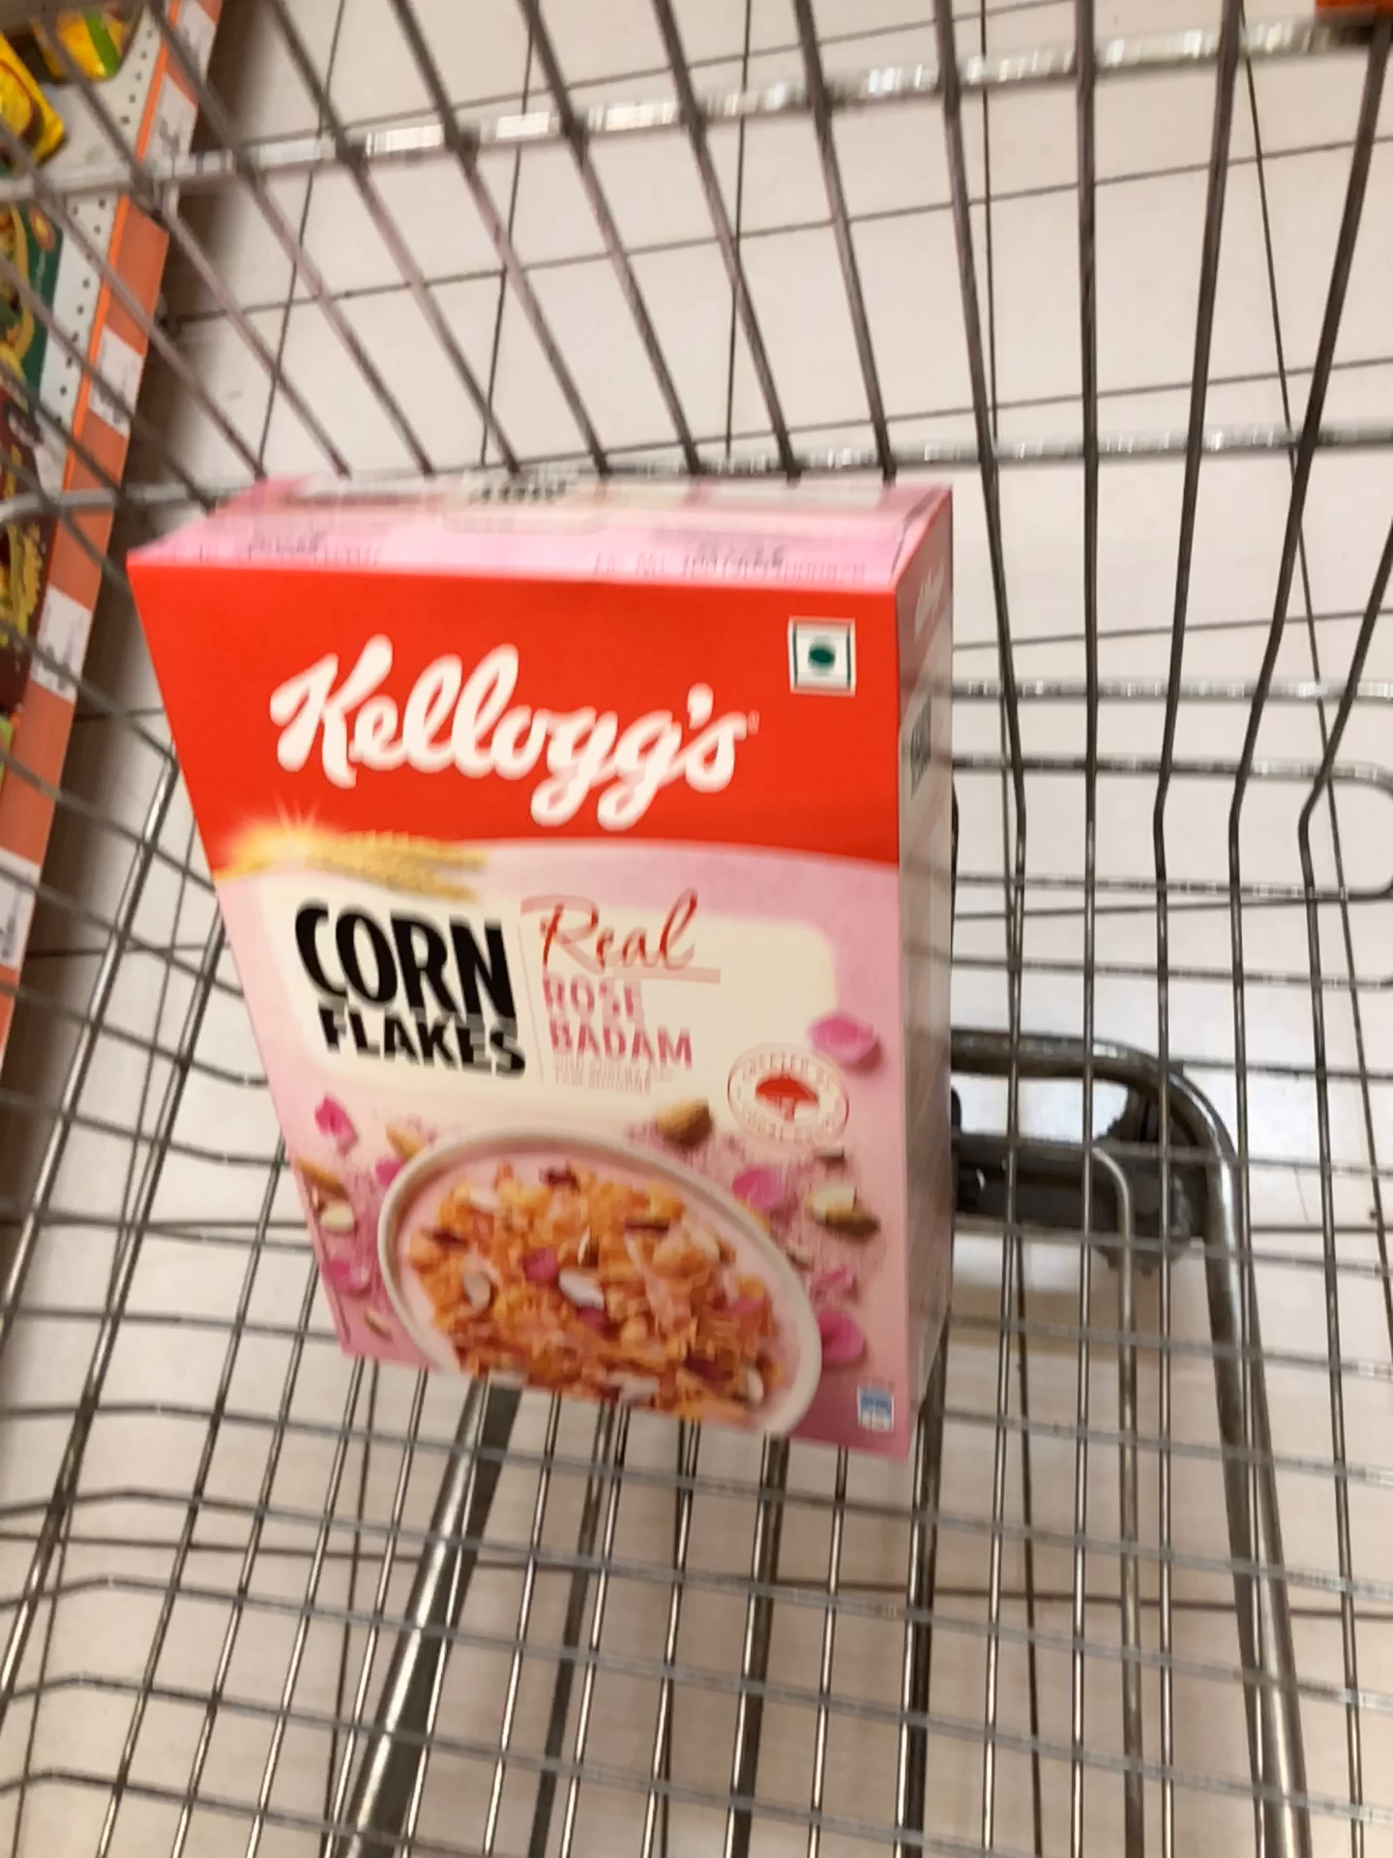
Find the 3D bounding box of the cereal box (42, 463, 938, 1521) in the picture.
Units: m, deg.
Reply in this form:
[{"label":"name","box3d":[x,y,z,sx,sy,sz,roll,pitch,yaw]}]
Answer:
[{"label":"cereal box","box3d":[-0.033,0.019,0.405,0.180,0.259,0.080,5,32,17]}]
